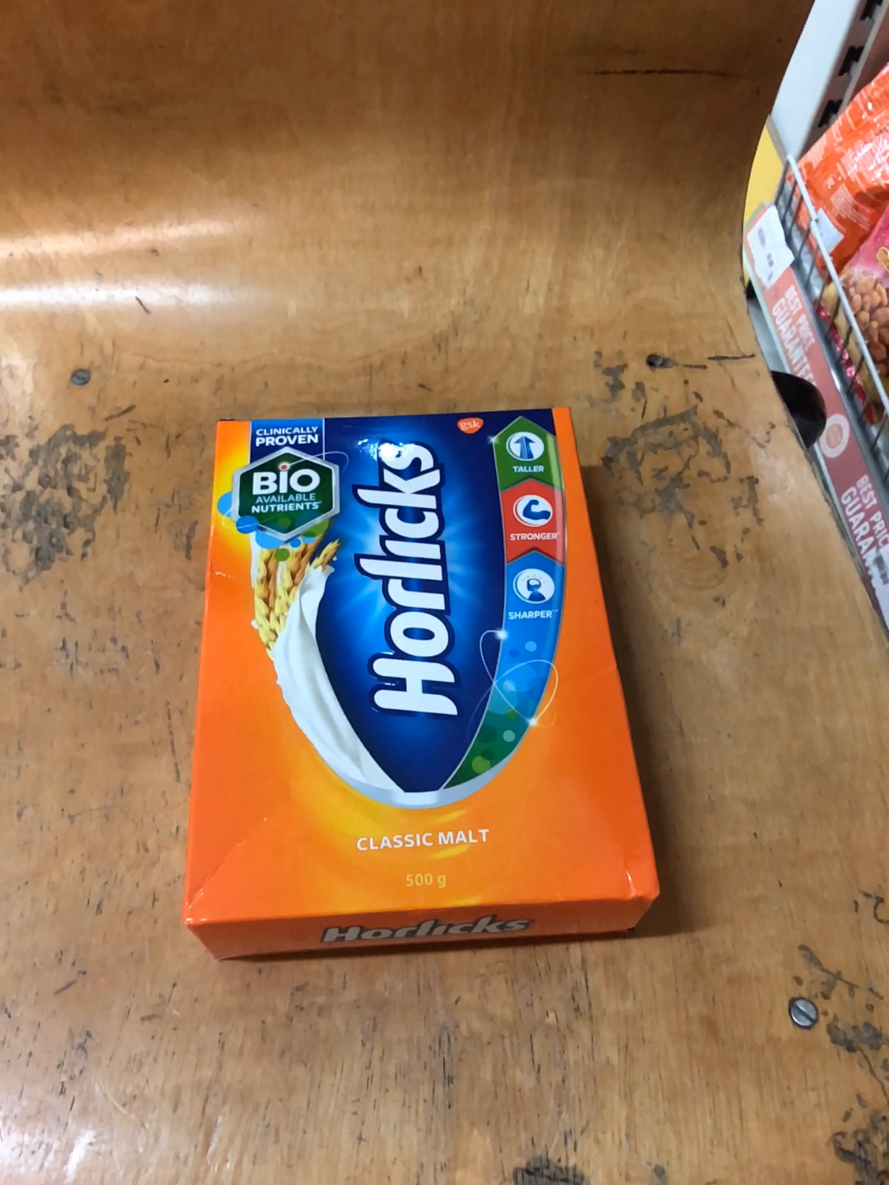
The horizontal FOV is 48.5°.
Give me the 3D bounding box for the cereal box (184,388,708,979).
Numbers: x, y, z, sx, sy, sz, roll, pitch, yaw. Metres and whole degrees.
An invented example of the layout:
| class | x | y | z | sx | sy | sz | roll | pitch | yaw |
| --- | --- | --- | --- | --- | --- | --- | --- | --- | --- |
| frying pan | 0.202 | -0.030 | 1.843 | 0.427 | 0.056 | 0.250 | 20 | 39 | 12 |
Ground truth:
| class | x | y | z | sx | sy | sz | roll | pitch | yaw |
| --- | --- | --- | --- | --- | --- | --- | --- | --- | --- |
| cereal box | -0.005 | 0.028 | 0.342 | 0.140 | 0.080 | 0.181 | -3 | 61 | -3 |
